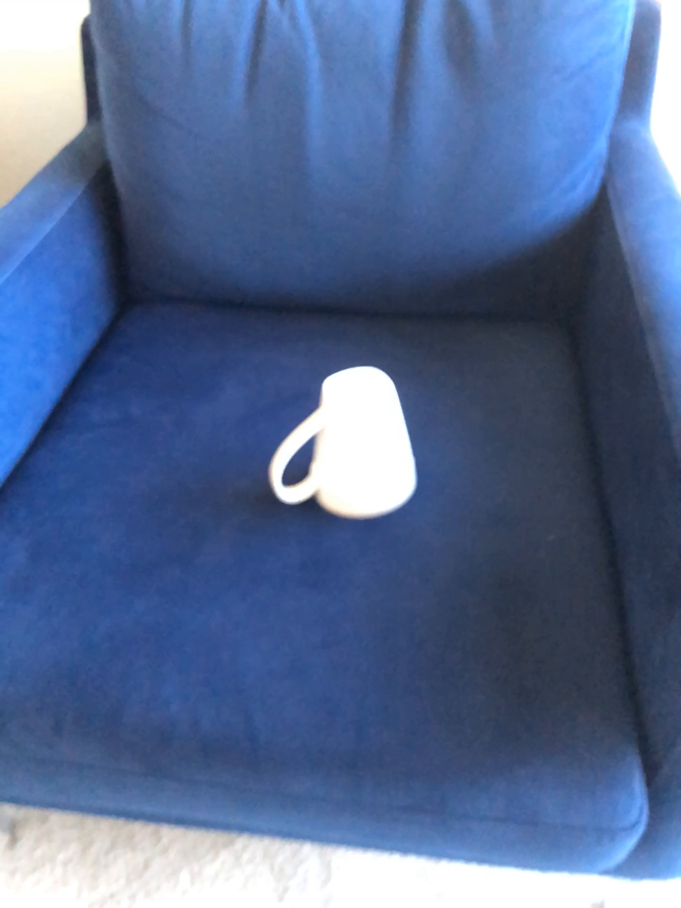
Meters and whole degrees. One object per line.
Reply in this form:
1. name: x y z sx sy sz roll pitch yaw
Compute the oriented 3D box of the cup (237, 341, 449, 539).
1. cup: 0.002 -0.017 0.685 0.150 0.090 0.110 -19 44 -16
